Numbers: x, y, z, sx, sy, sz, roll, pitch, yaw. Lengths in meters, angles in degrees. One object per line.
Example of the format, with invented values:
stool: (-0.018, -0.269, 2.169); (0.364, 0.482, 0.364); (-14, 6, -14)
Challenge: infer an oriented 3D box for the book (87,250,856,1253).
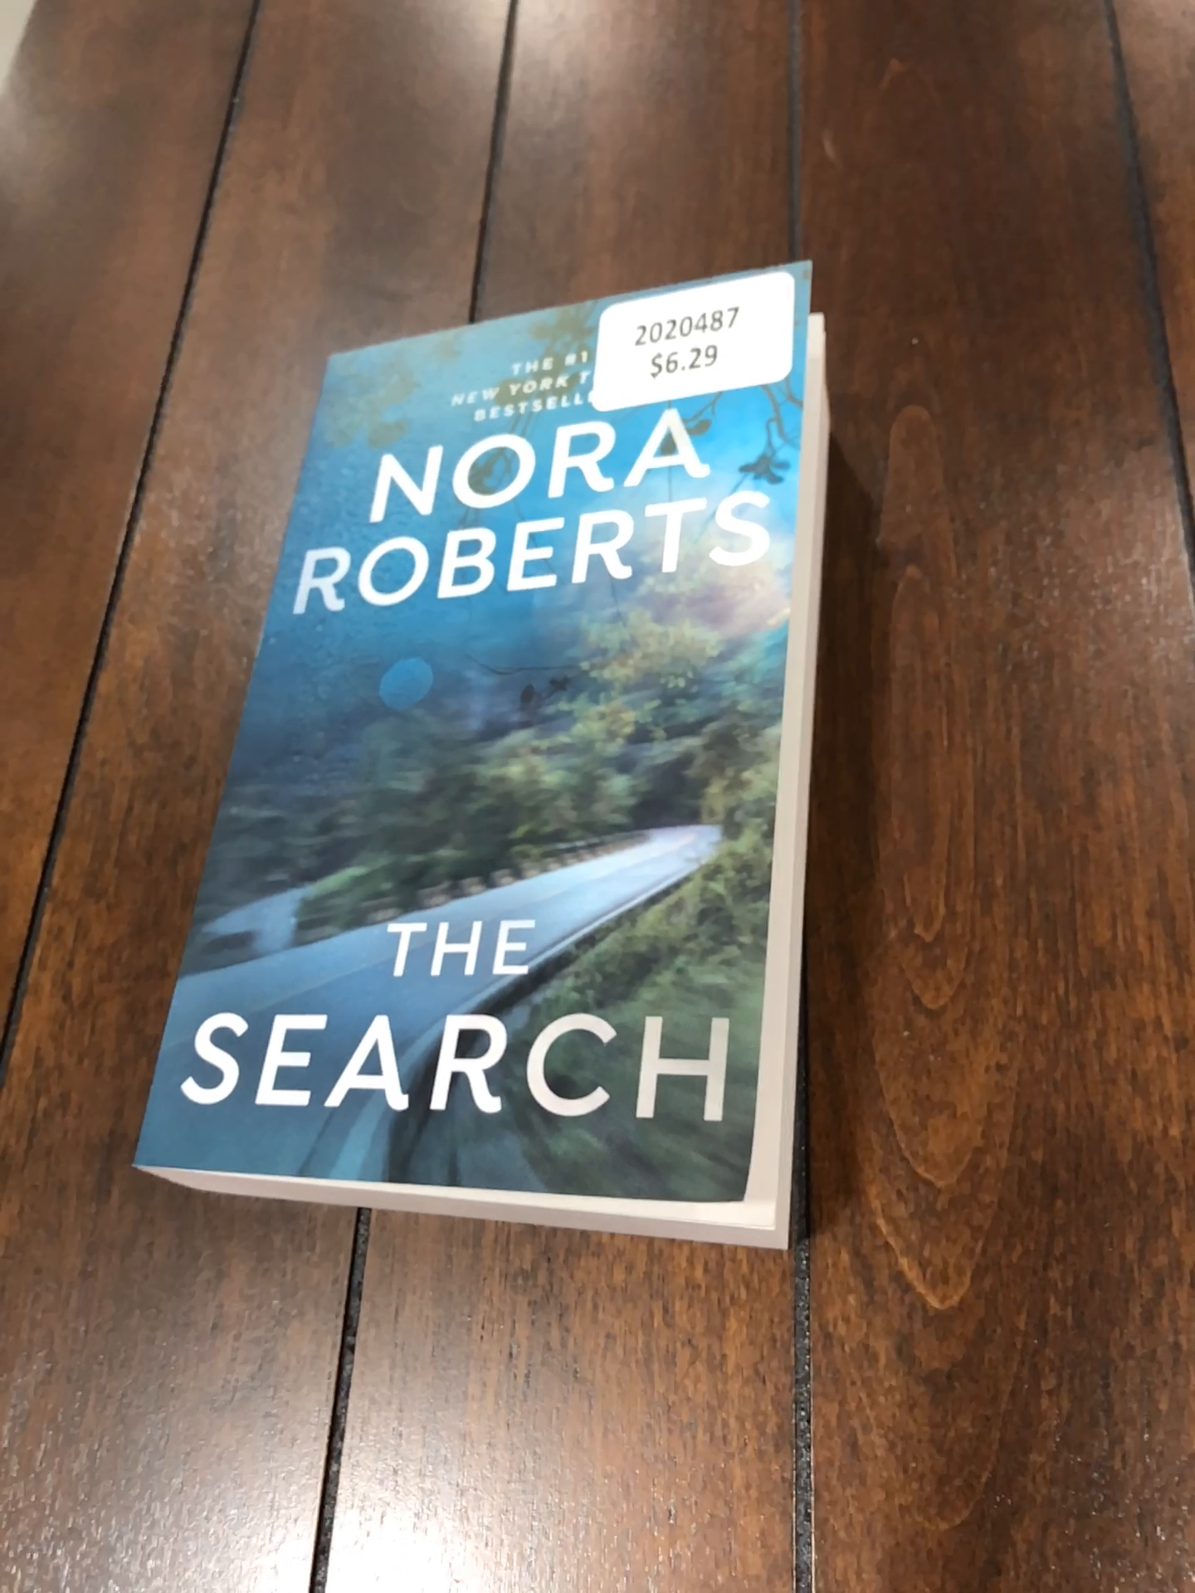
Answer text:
book: (-0.014, -0.011, 0.254); (0.108, 0.050, 0.170); (-2, 64, 21)
